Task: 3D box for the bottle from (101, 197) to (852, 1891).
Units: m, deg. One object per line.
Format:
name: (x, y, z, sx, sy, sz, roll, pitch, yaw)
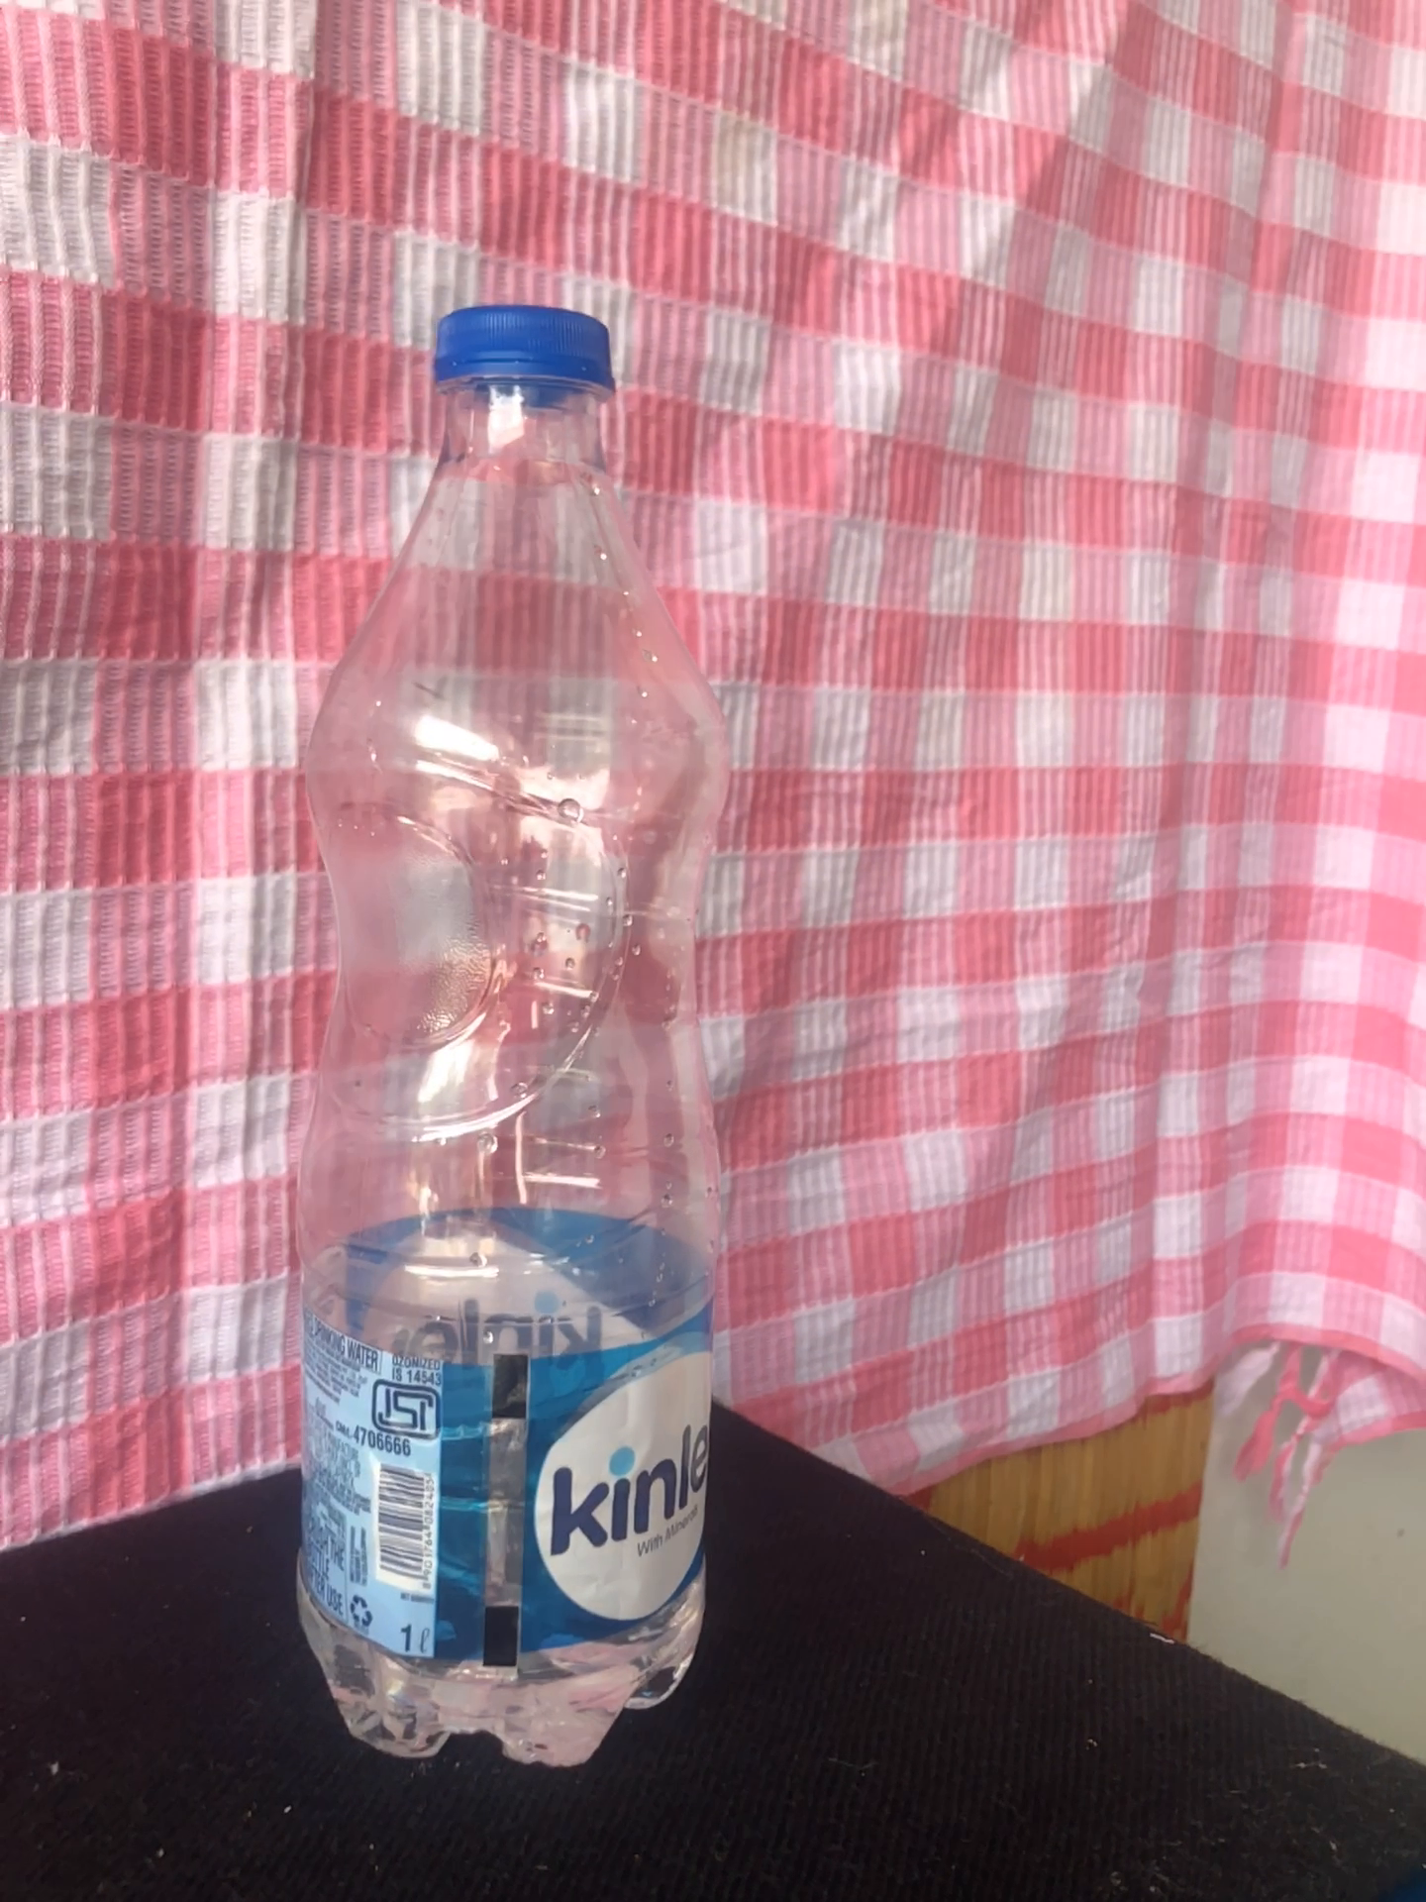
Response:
bottle: (-0.044, 0.013, 0.296, 0.080, 0.259, 0.090, 10, 9, 29)
